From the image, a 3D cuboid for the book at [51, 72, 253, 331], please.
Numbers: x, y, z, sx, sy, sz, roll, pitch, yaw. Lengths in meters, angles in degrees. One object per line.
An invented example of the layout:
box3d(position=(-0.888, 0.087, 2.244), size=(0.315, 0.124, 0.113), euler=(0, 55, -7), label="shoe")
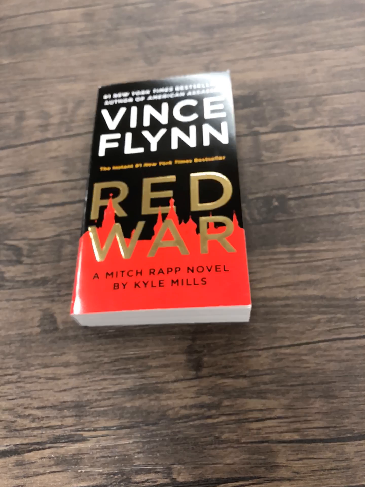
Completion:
box3d(position=(-0.018, -0.037, 0.281), size=(0.110, 0.030, 0.183), euler=(-4, 60, 5), label="book")
